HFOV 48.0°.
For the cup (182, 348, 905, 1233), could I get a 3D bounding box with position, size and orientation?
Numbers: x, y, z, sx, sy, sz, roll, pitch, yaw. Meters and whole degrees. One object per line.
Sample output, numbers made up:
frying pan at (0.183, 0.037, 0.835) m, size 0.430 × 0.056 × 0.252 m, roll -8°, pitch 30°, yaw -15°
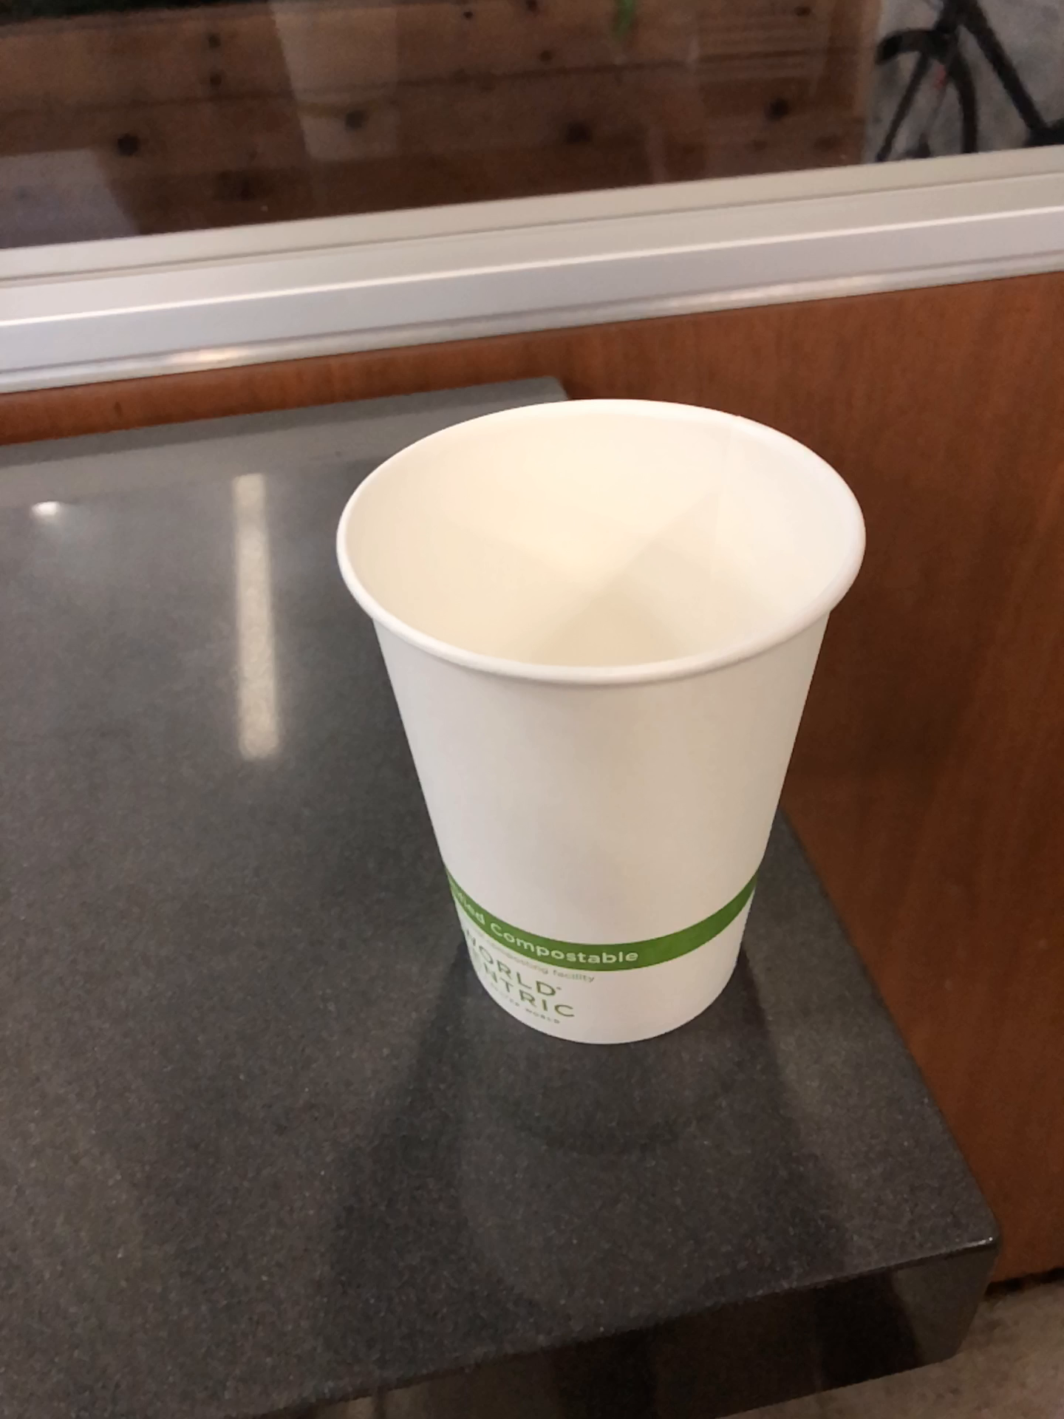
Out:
cup at (0.008, 0.012, 0.228) m, size 0.080 × 0.119 × 0.090 m, roll 20°, pitch 44°, yaw 26°
